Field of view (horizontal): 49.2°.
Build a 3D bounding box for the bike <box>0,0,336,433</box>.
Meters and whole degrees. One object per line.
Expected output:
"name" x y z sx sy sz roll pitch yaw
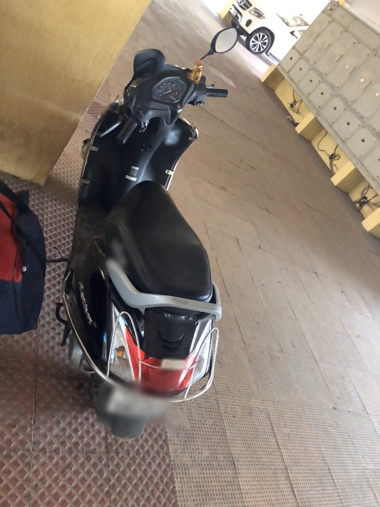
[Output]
"bike" -0.316 -0.314 1.696 0.622 0.883 1.664 18 39 -37
